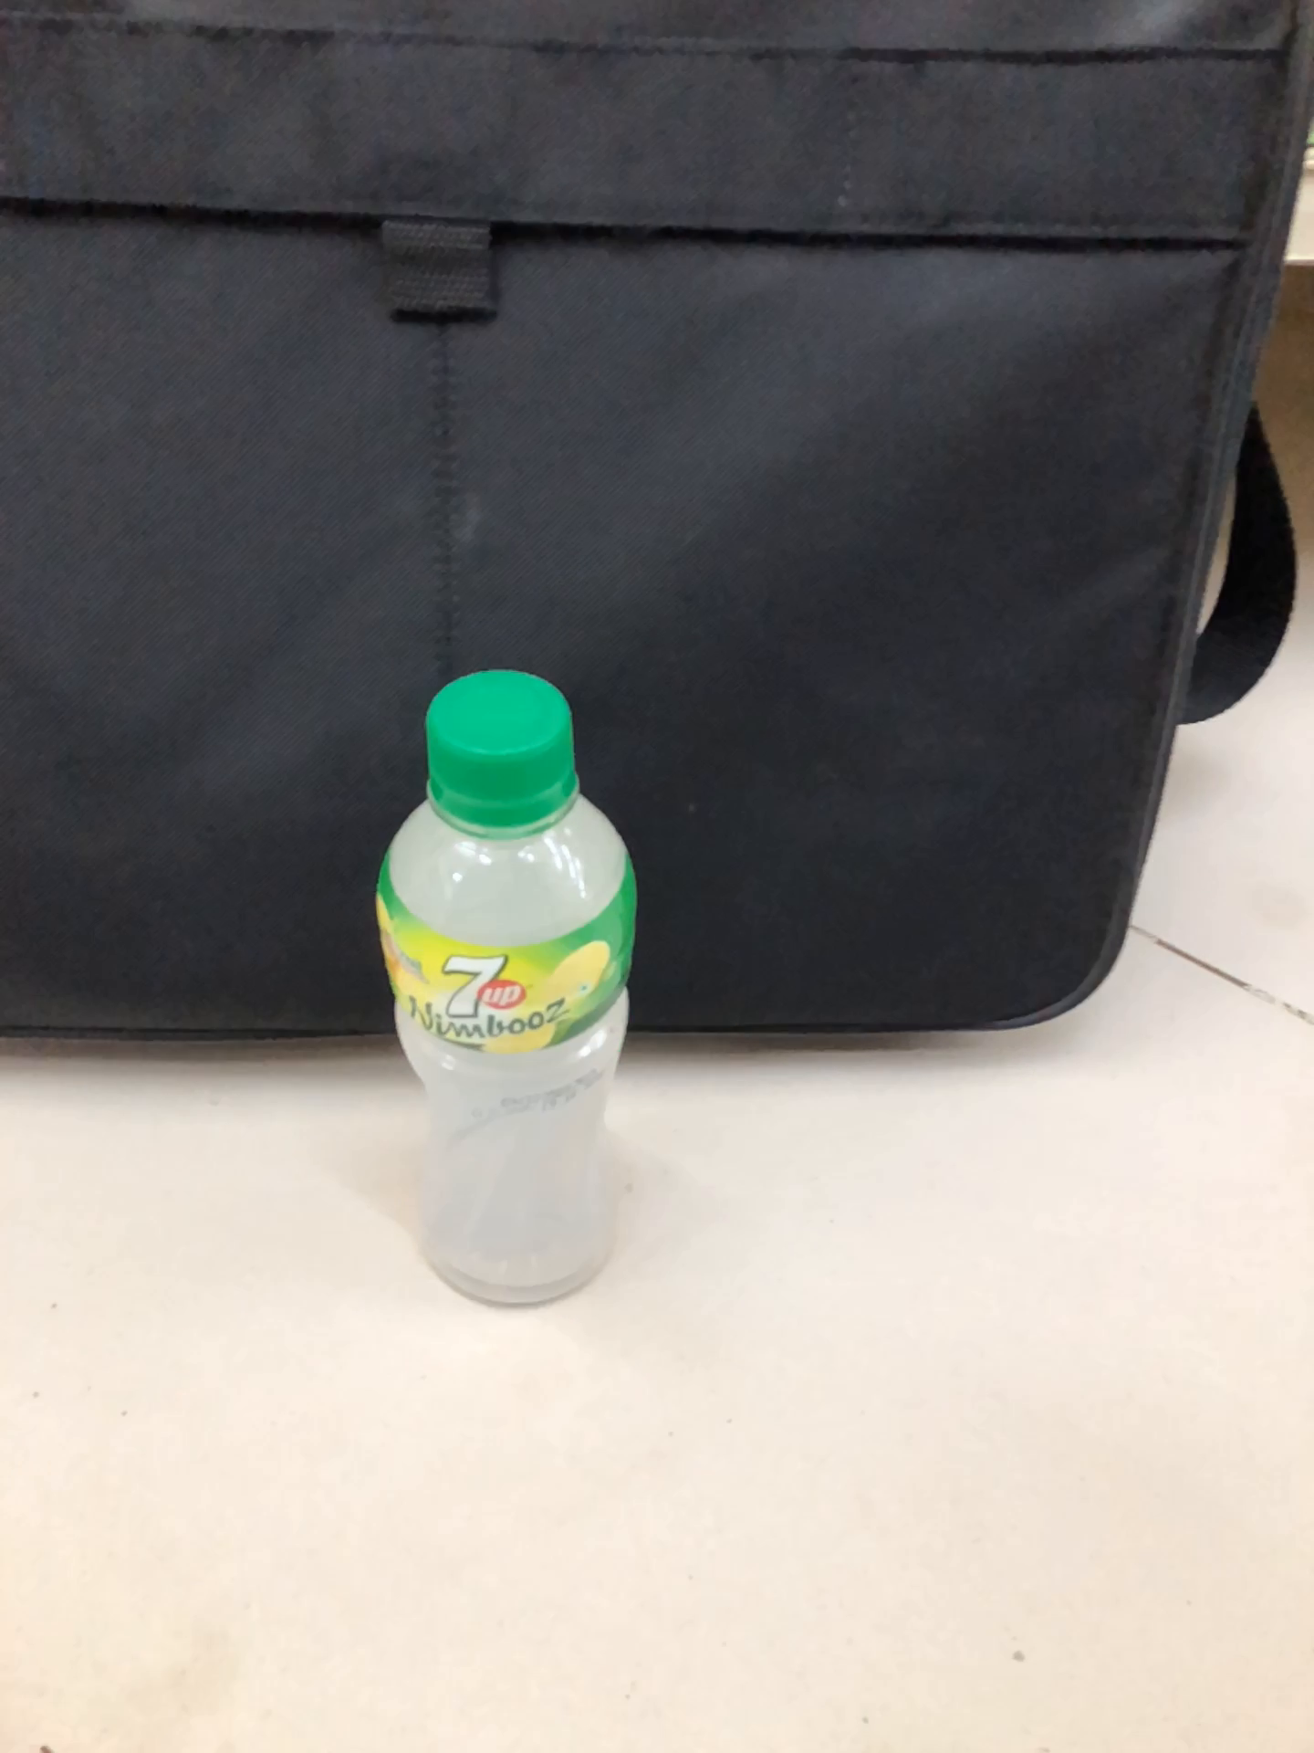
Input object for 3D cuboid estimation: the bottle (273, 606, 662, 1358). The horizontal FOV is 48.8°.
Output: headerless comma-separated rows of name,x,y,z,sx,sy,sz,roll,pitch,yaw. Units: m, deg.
bottle,-0.037,0.036,0.353,0.070,0.189,0.070,1,43,-1
